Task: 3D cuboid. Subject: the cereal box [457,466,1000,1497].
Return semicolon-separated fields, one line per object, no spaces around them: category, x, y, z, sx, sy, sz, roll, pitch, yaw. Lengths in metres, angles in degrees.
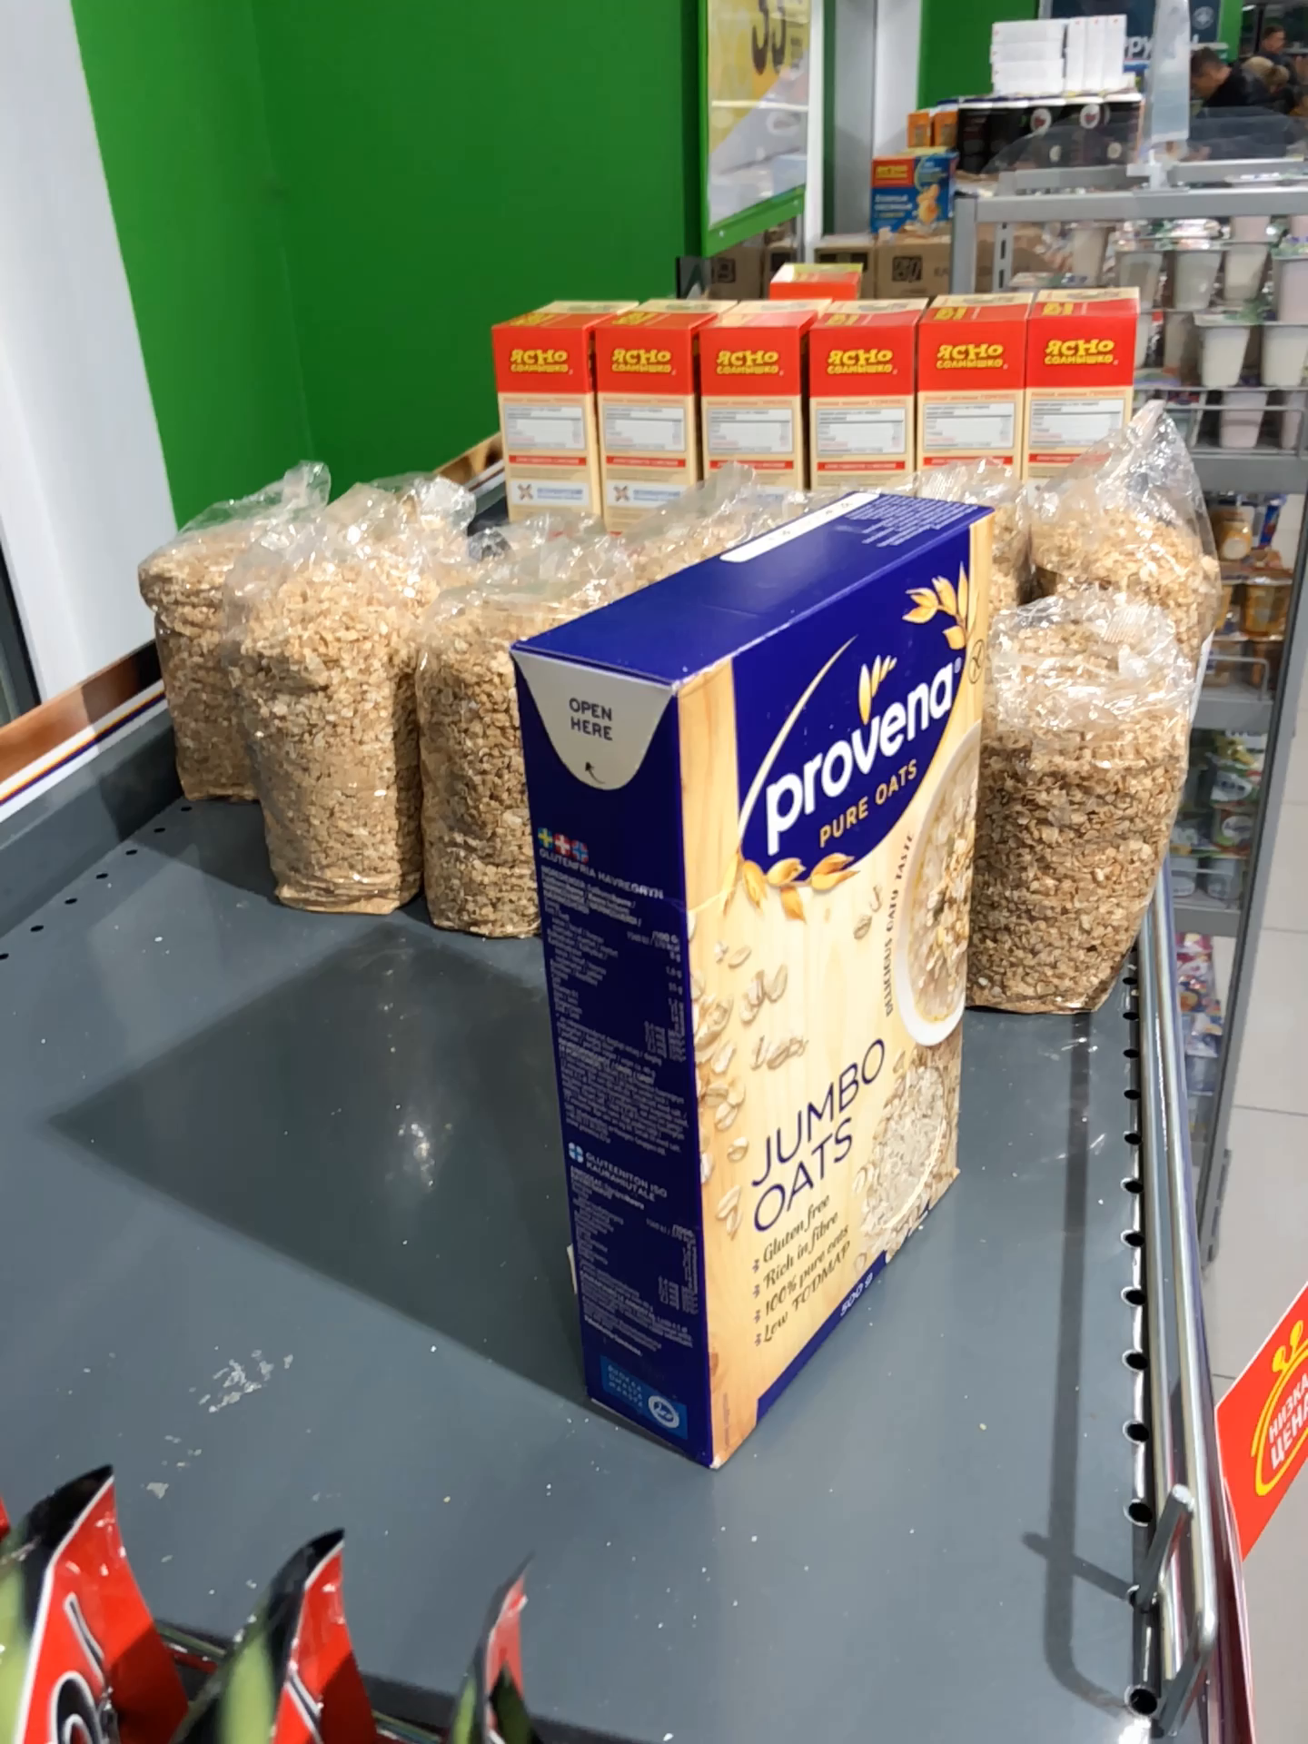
cereal box;0.031;0.025;0.388;0.050;0.229;0.151;17;34;34
